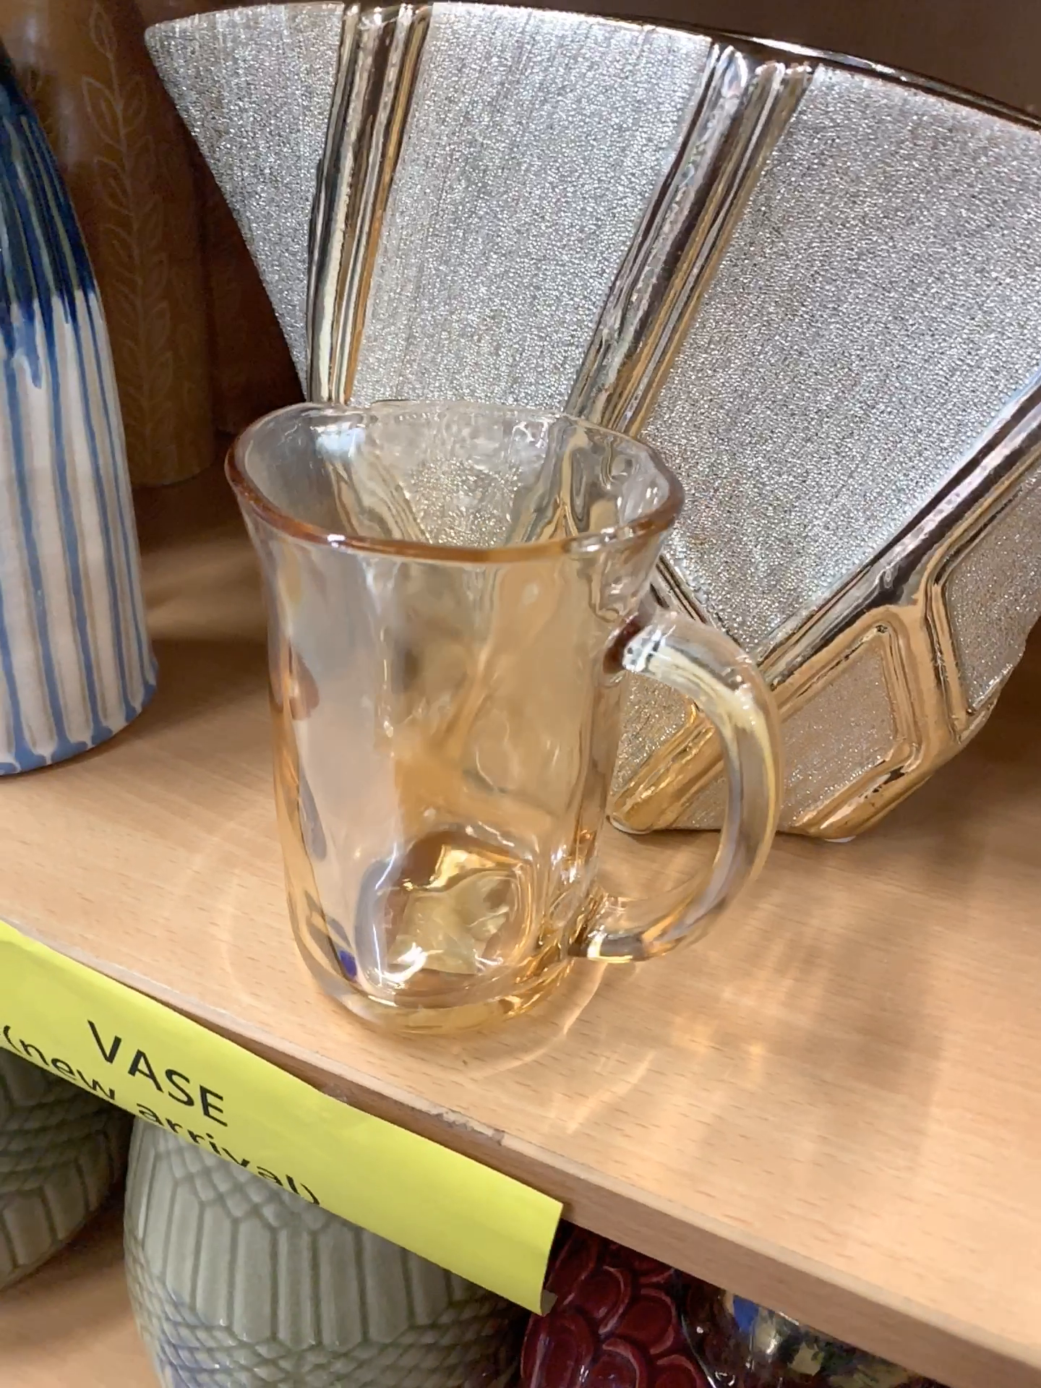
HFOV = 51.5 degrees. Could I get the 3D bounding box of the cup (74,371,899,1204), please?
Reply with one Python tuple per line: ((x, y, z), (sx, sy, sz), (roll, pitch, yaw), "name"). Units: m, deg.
((-0.004, 0.007, 0.201), (0.110, 0.100, 0.080), (17, 32, 20), "cup")
